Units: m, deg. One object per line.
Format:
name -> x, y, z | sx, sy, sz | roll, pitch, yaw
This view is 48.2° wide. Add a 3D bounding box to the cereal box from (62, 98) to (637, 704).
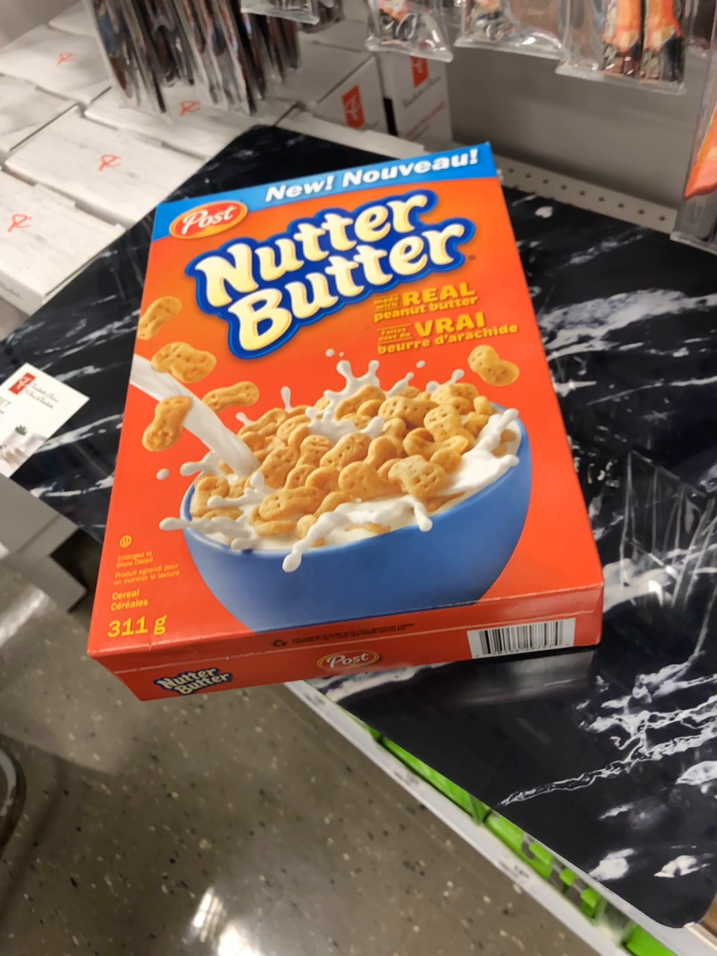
cereal box -> -0.012, -0.057, 0.392 | 0.210, 0.050, 0.301 | -9, 55, 7
